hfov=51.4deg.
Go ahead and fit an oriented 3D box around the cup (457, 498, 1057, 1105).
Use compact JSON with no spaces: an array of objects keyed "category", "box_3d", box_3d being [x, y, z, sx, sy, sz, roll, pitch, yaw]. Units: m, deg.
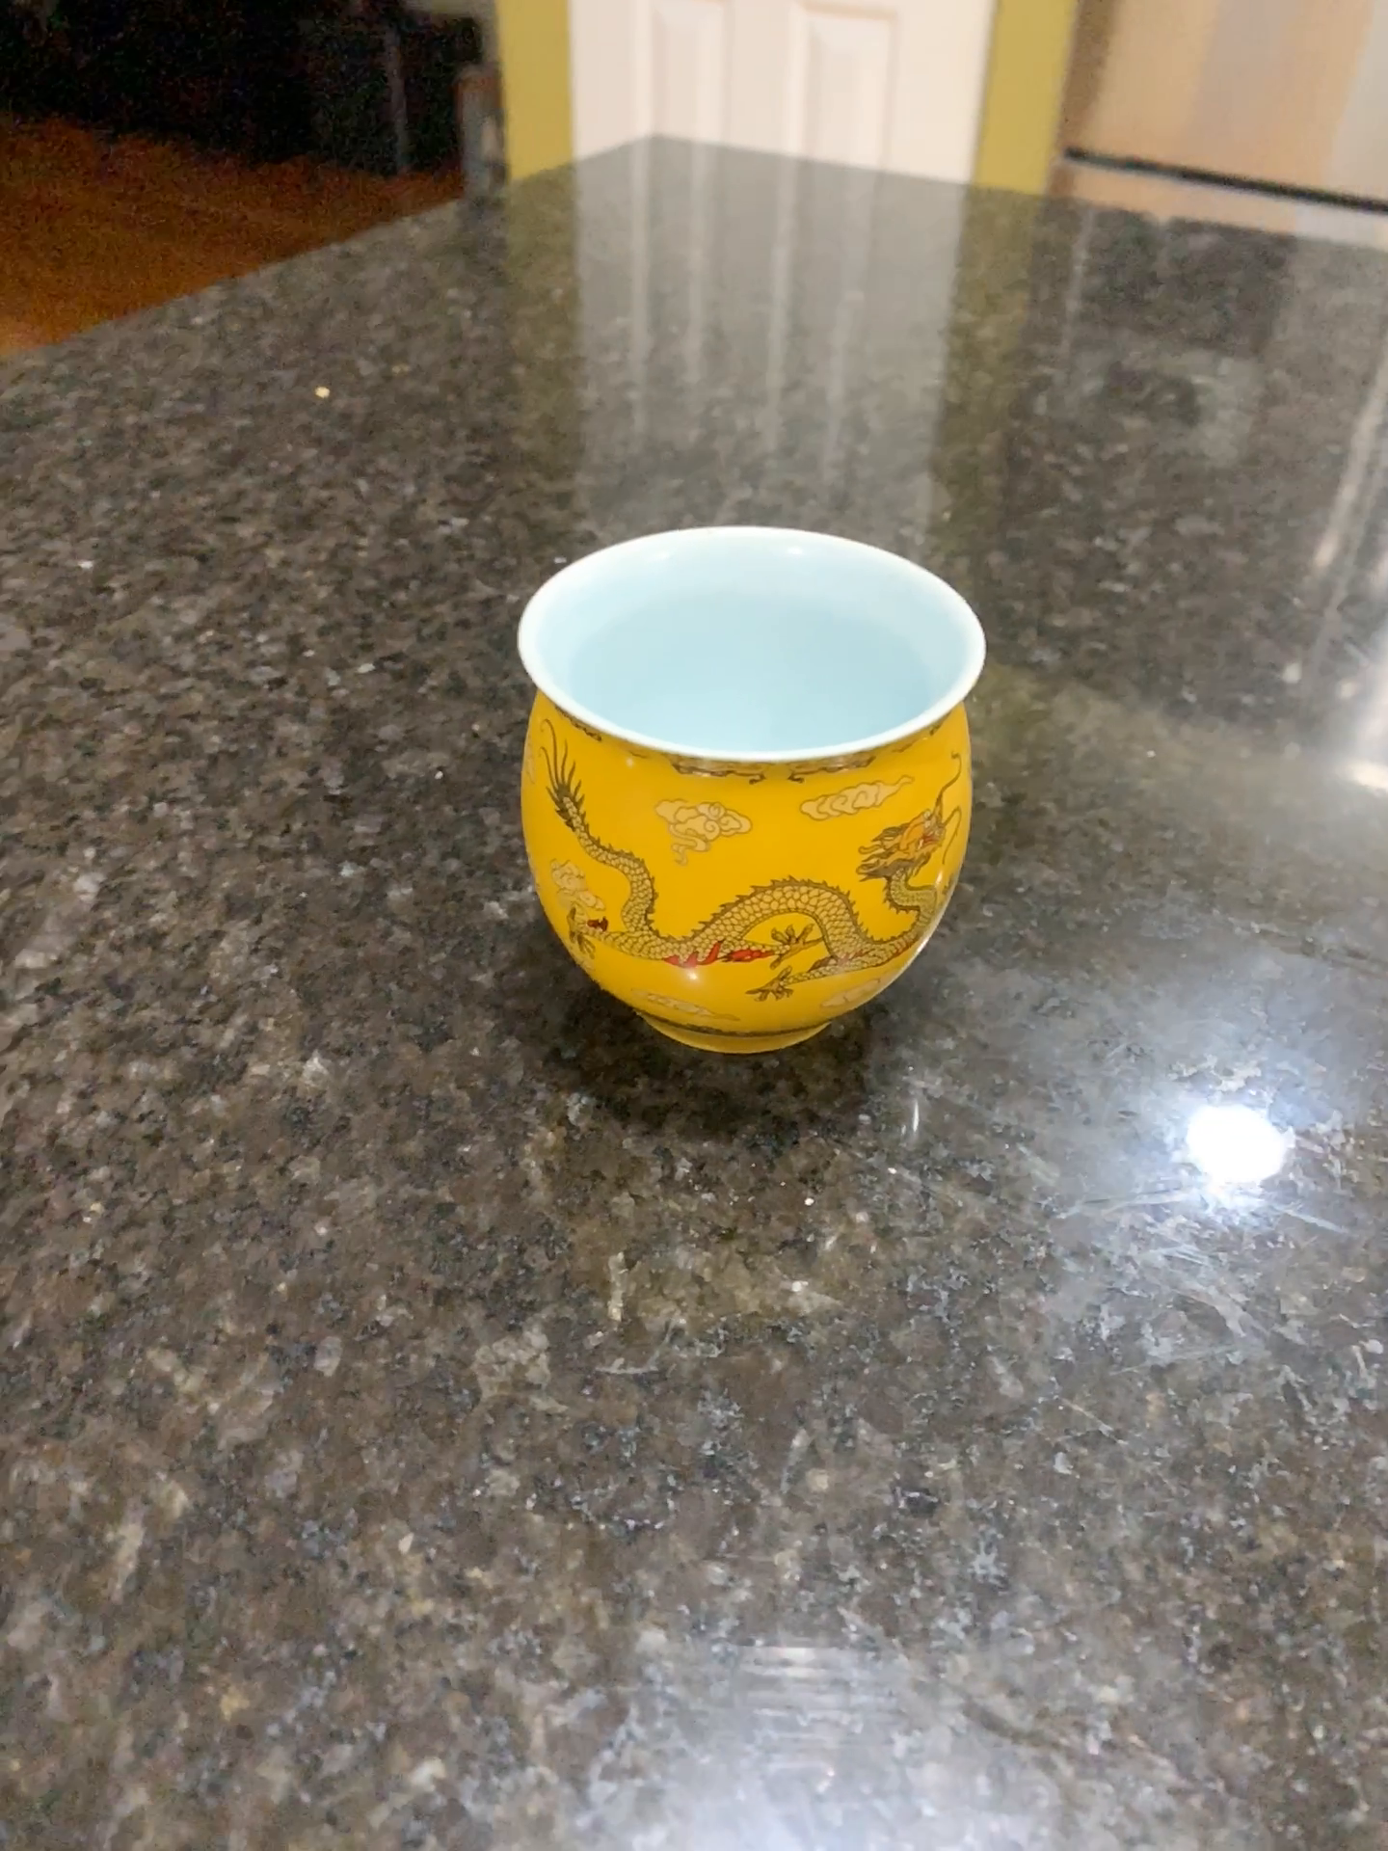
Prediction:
[{"category":"cup","box_3d":[0.008,-0.021,0.230,0.075,0.066,0.073,0,40,0]}]
